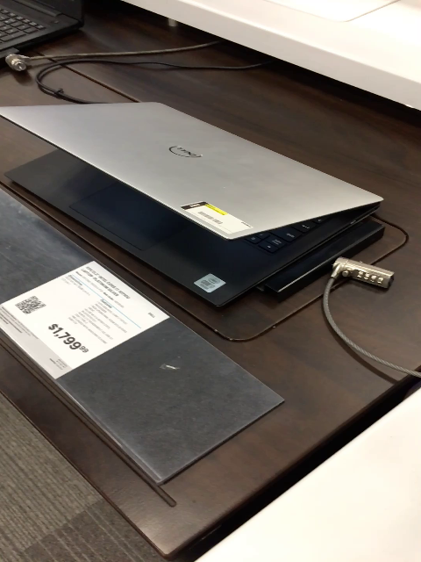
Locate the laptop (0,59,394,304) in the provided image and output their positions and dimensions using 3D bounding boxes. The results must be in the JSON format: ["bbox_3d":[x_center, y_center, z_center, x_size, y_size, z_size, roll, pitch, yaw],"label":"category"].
[{"bbox_3d":[-0.033,-0.113,0.536,0.191,0.074,0.297,-38,55,-25],"label":"laptop"}]
